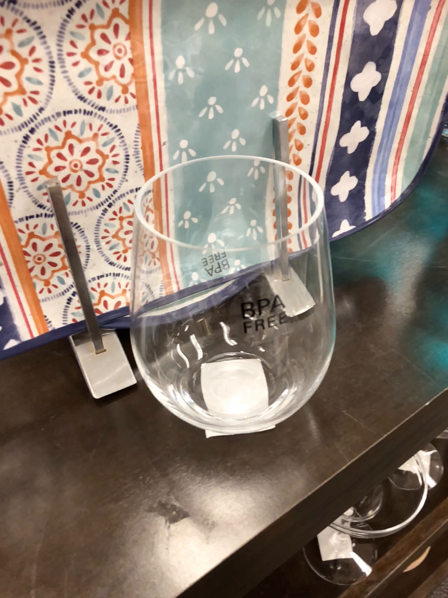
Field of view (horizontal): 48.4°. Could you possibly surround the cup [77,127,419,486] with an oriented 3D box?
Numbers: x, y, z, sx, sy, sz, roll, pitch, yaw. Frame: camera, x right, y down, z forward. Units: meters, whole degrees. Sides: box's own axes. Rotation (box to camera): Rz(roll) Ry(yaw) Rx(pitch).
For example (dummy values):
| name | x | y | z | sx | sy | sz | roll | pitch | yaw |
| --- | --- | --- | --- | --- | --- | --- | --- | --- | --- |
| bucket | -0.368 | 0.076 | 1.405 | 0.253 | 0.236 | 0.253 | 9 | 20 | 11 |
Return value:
| name | x | y | z | sx | sy | sz | roll | pitch | yaw |
| --- | --- | --- | --- | --- | --- | --- | --- | --- | --- |
| cup | 0.005 | -0.003 | 0.219 | 0.094 | 0.097 | 0.094 | -1 | 40 | 1 |
